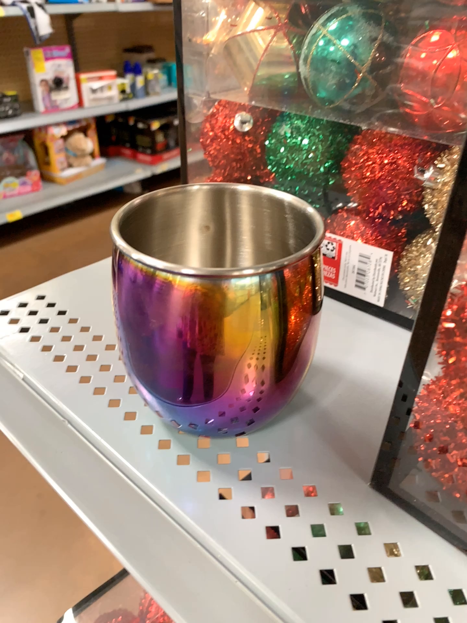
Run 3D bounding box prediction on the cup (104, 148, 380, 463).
[{"bbox_3d":[-0.007,-0.012,0.225,0.087,0.090,0.111,-8,36,-13],"label":"cup"}]
